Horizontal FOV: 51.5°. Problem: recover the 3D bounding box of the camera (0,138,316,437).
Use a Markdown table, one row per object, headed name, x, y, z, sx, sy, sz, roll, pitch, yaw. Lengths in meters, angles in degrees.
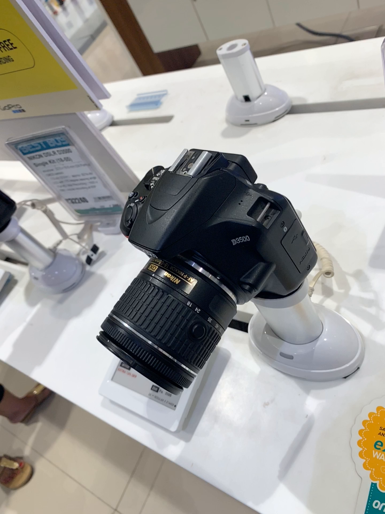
| name | x | y | z | sx | sy | sz | roll | pitch | yaw |
| --- | --- | --- | --- | --- | --- | --- | --- | --- | --- |
| camera | -0.016 | 0.010 | 0.220 | 0.111 | 0.090 | 0.103 | 22 | 69 | 41 |
